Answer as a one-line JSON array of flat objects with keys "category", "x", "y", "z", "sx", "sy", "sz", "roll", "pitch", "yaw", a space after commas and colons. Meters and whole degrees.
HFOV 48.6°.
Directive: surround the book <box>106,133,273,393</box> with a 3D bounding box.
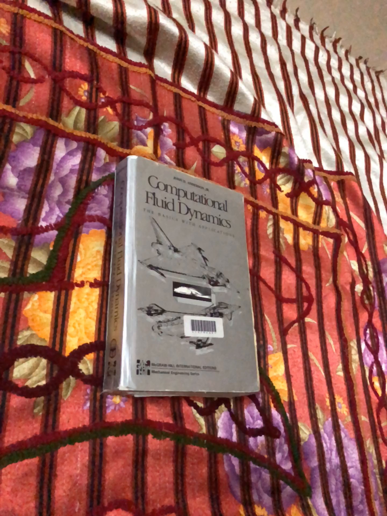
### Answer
[{"category": "book", "x": -0.001, "y": 0.013, "z": 0.464, "sx": 0.161, "sy": 0.060, "sz": 0.250, "roll": 13, "pitch": 67, "yaw": -34}]
